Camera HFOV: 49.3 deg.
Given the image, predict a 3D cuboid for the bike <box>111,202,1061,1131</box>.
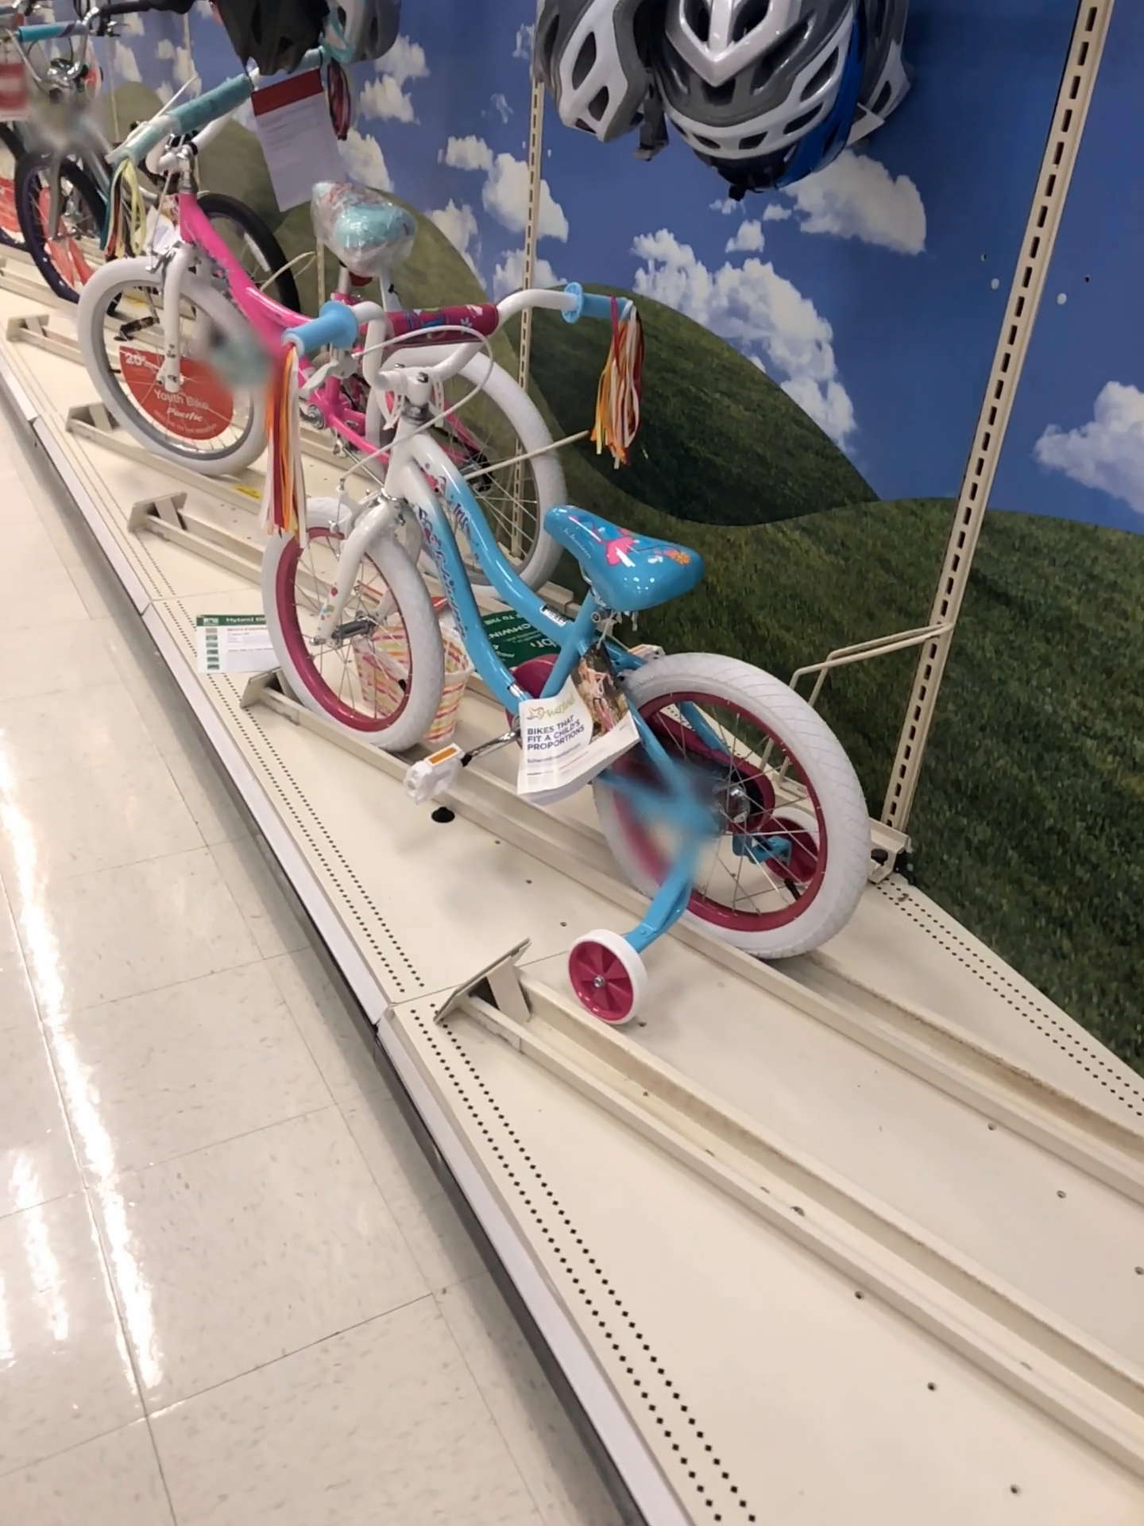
[{"bbox_3d":[-0.044,-0.235,1.672,1.092,0.723,0.534,28,38,31],"label":"bike"}]
